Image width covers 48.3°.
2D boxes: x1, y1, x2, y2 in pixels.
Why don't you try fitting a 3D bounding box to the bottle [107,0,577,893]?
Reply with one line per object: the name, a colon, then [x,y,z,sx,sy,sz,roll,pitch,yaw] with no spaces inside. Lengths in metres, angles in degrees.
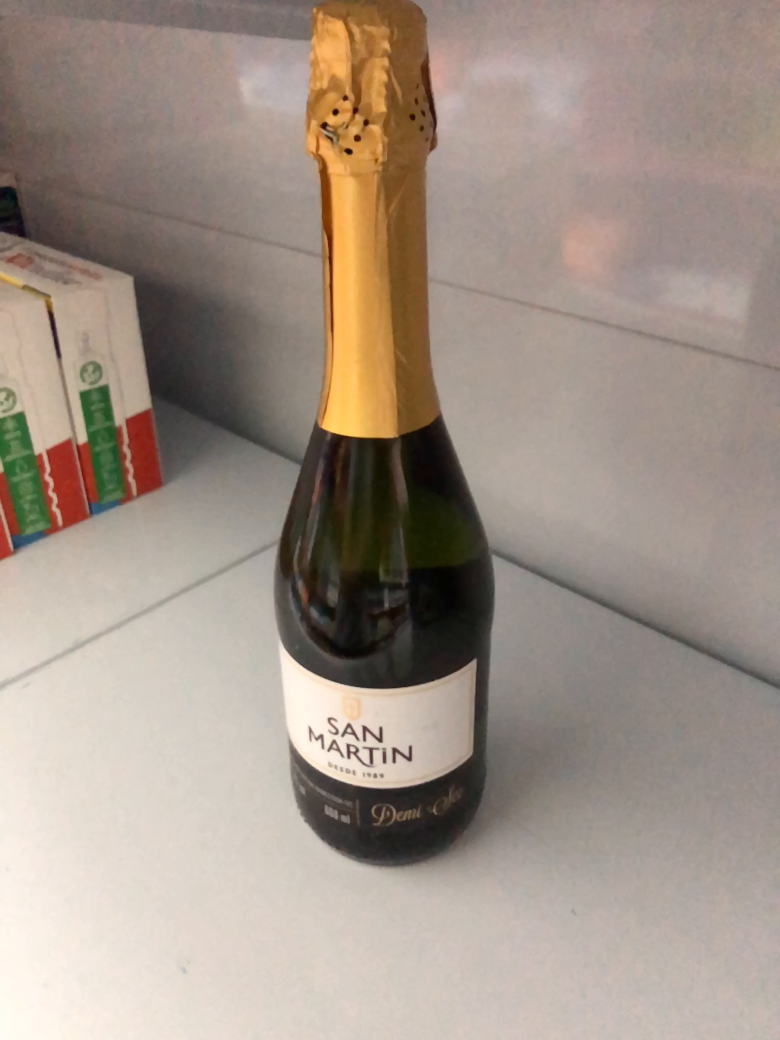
bottle: [-0.002,-0.019,0.290,0.090,0.307,0.081,9,33,17]
